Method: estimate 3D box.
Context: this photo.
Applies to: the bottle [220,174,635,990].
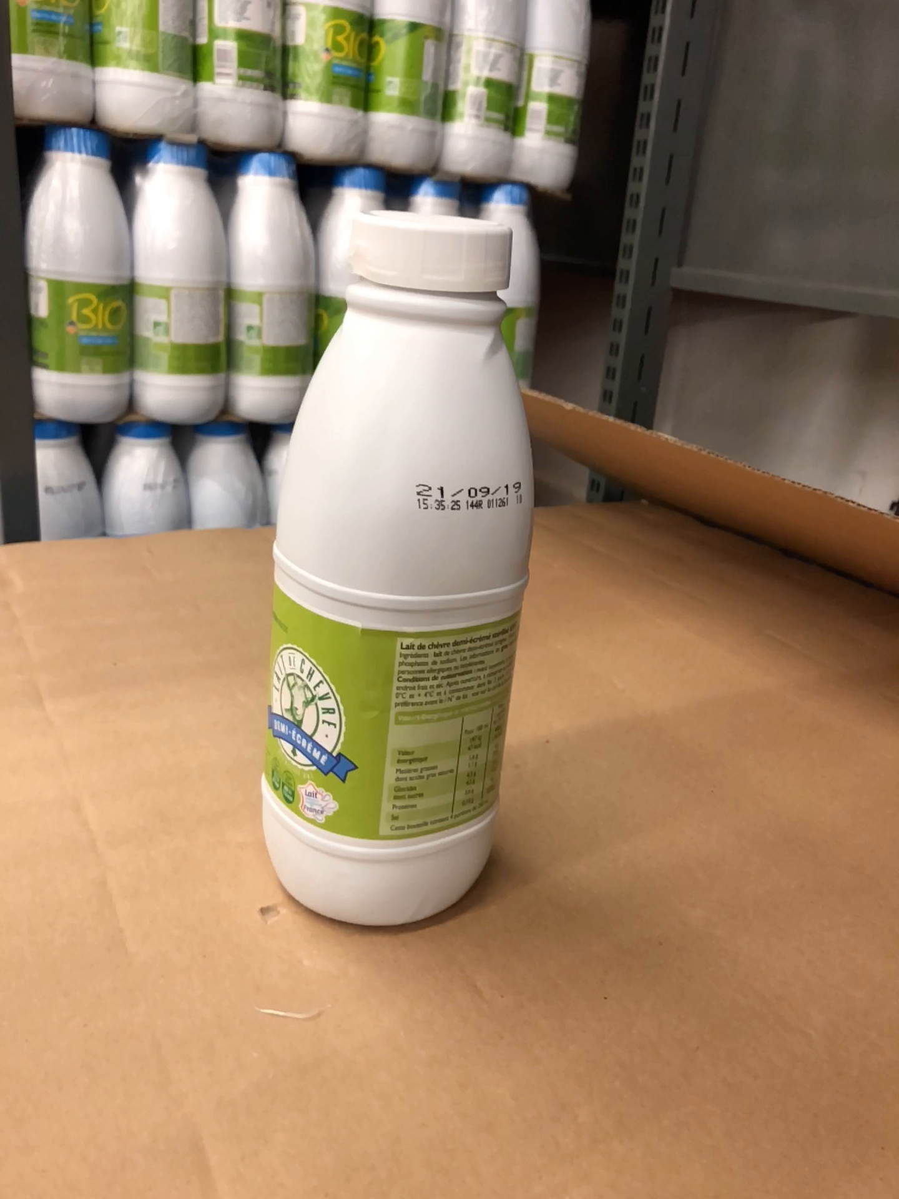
[{"bbox_3d":[-0.018,-0.010,0.336,0.080,0.239,0.100,-11,25,-38],"label":"bottle"}]
